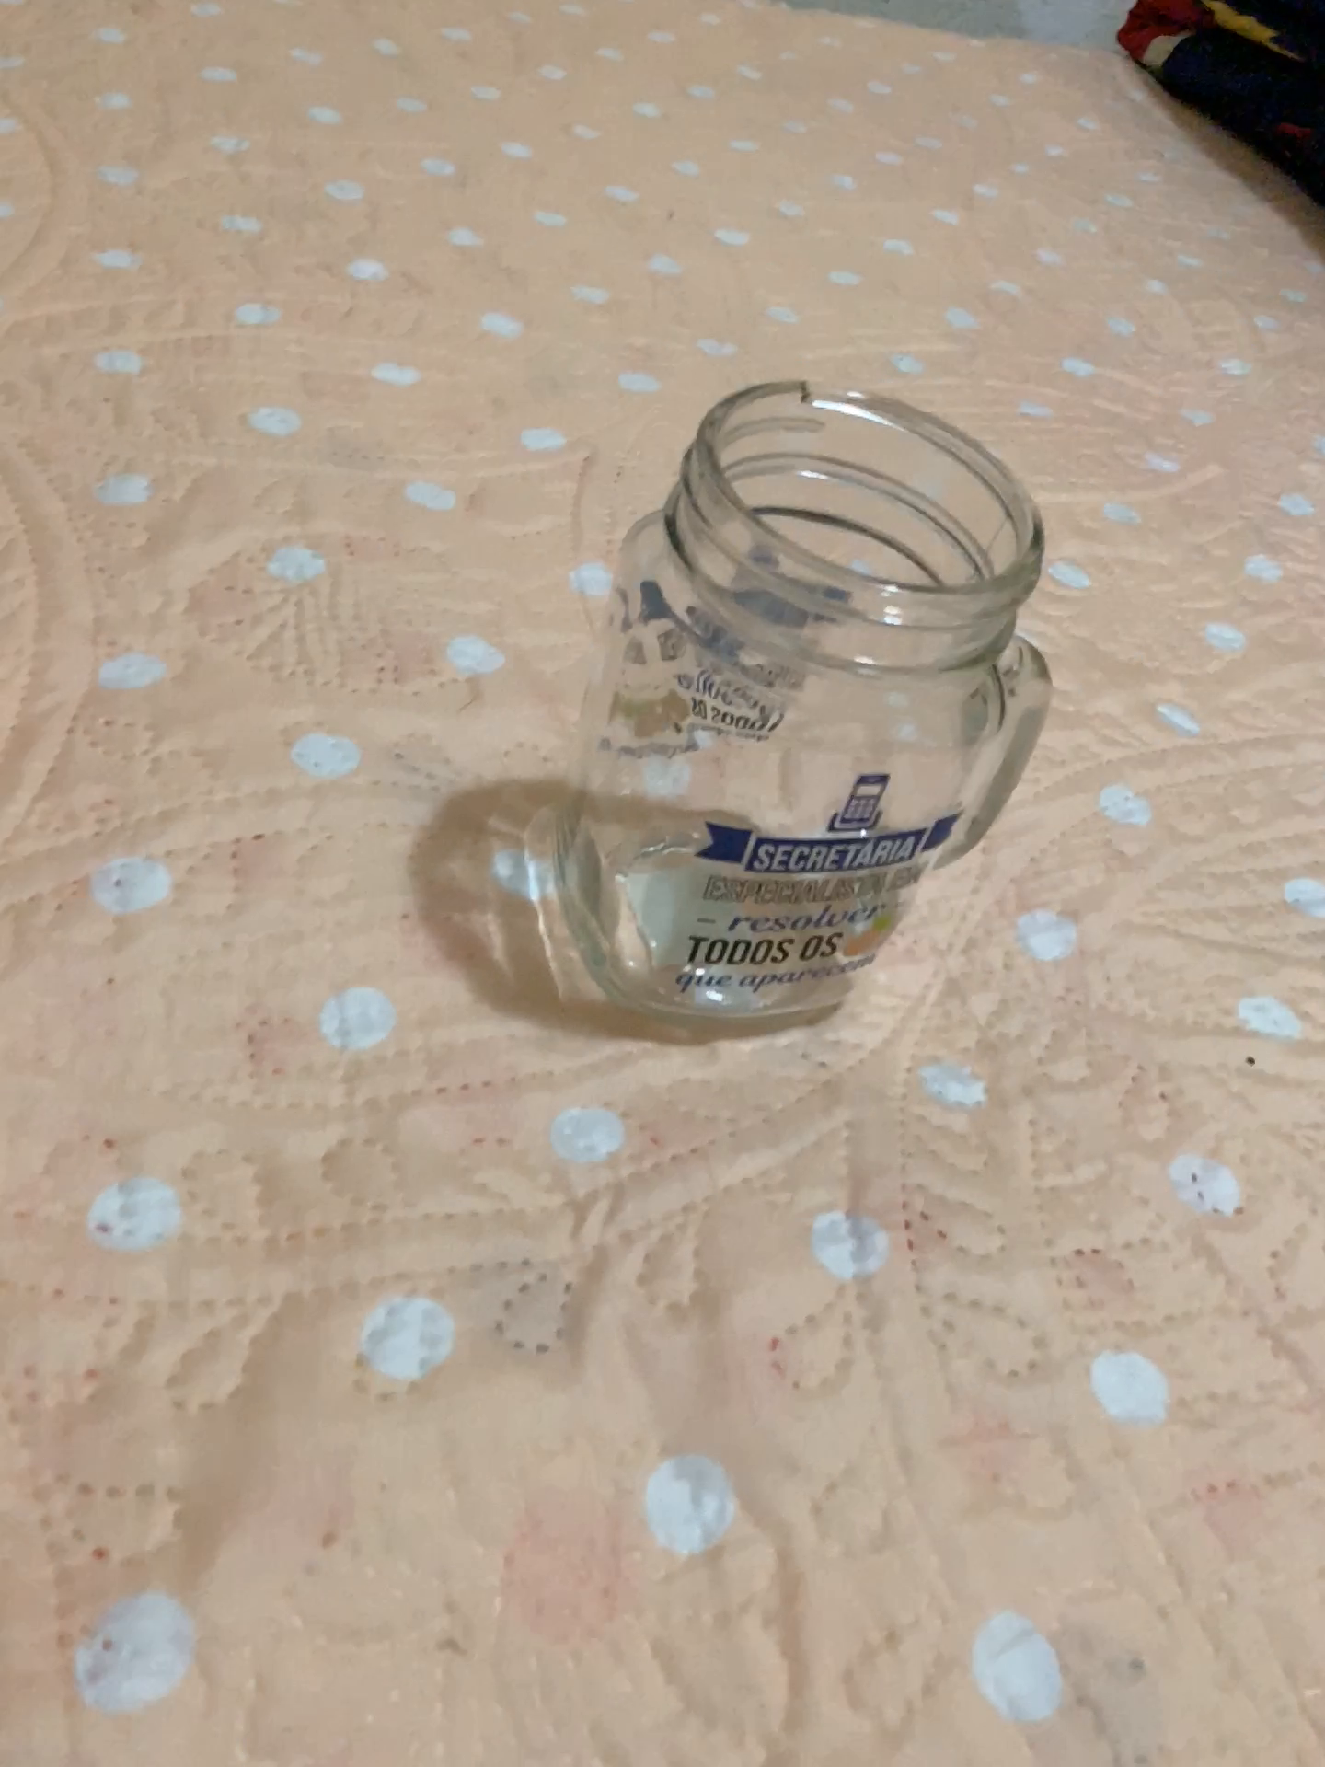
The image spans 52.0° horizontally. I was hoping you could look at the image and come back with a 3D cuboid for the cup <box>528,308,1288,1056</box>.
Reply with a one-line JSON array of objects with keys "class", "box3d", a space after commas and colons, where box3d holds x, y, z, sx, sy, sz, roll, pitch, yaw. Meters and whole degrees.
[{"class": "cup", "box3d": [0.035, -0.035, 0.278, 0.100, 0.119, 0.080, 0, 46, -16]}]
